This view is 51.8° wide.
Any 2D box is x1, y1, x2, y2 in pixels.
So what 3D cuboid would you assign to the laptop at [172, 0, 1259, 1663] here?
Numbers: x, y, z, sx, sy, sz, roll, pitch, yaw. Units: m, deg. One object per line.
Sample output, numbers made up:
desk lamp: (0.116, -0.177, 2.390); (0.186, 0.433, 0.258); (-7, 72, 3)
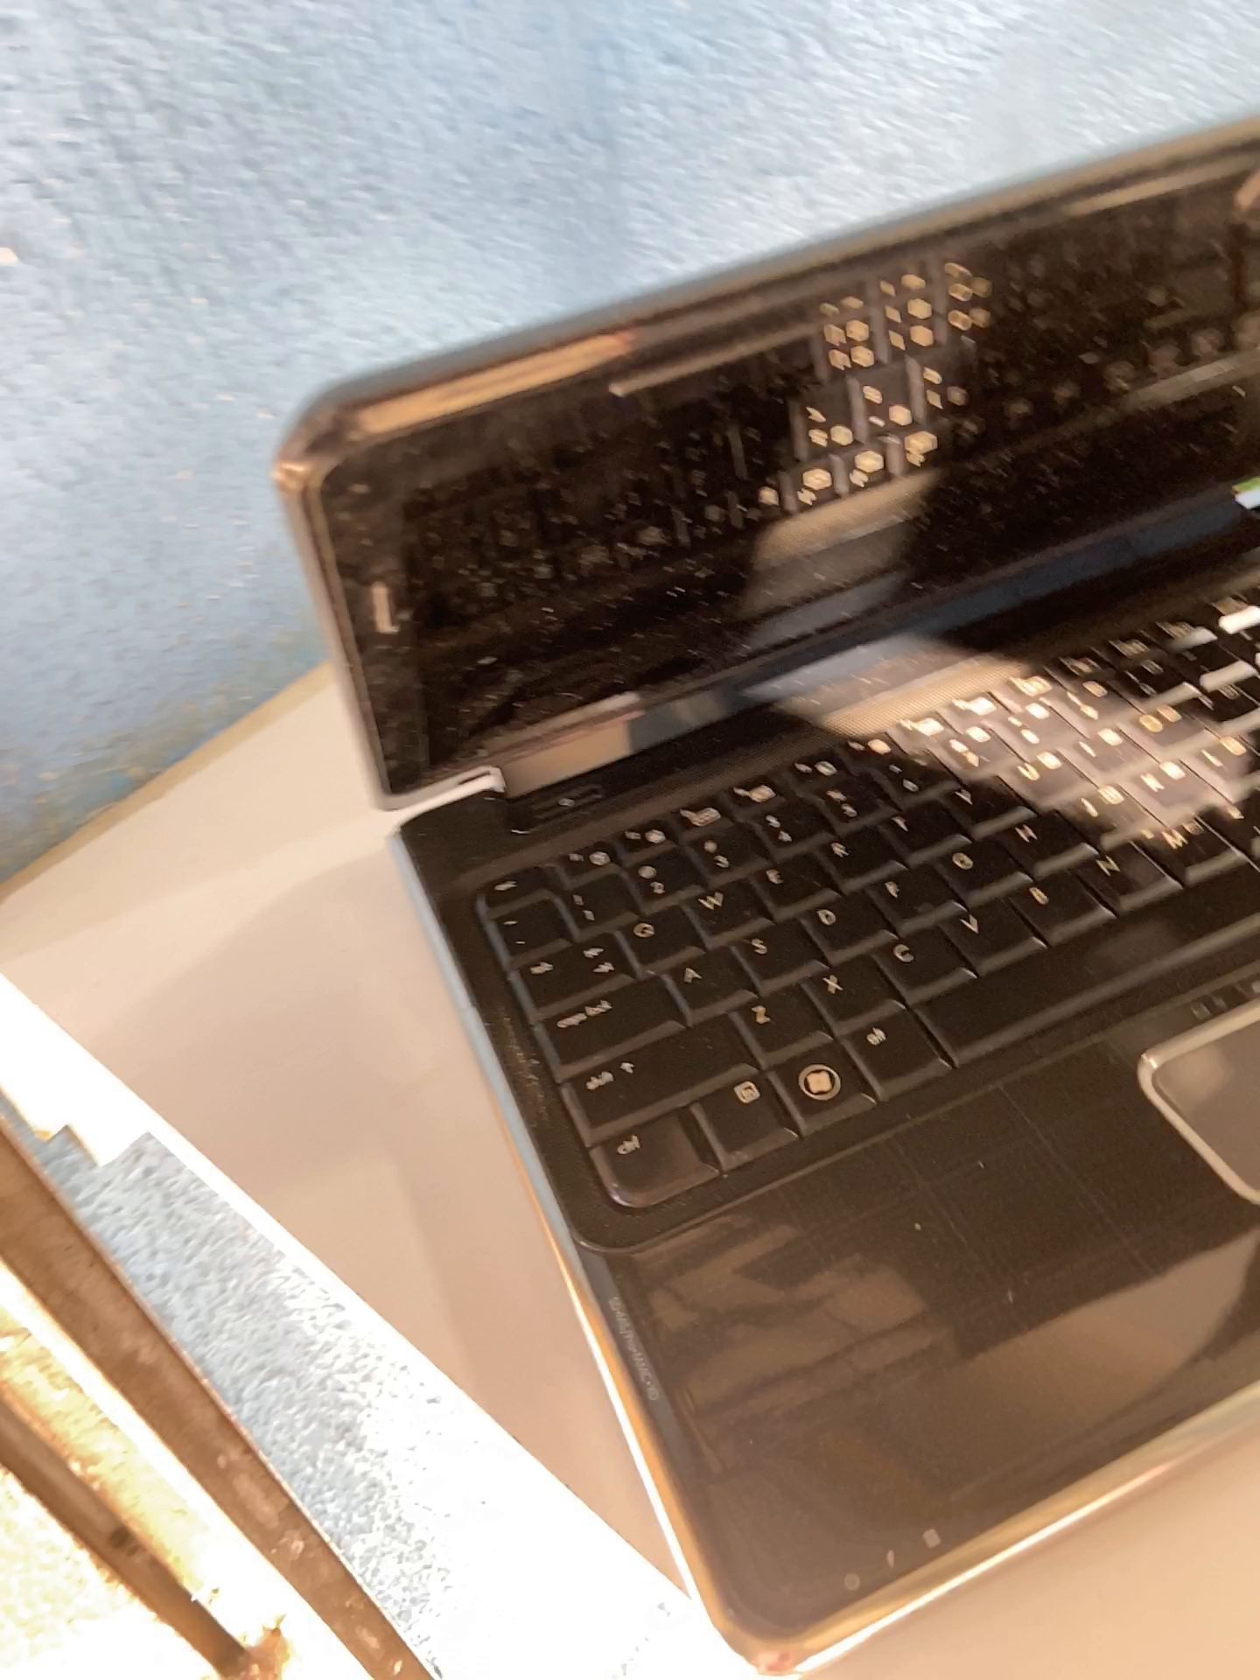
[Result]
laptop: (0.112, -0.057, 0.264); (0.325, 0.165, 0.226); (-21, 43, -11)
